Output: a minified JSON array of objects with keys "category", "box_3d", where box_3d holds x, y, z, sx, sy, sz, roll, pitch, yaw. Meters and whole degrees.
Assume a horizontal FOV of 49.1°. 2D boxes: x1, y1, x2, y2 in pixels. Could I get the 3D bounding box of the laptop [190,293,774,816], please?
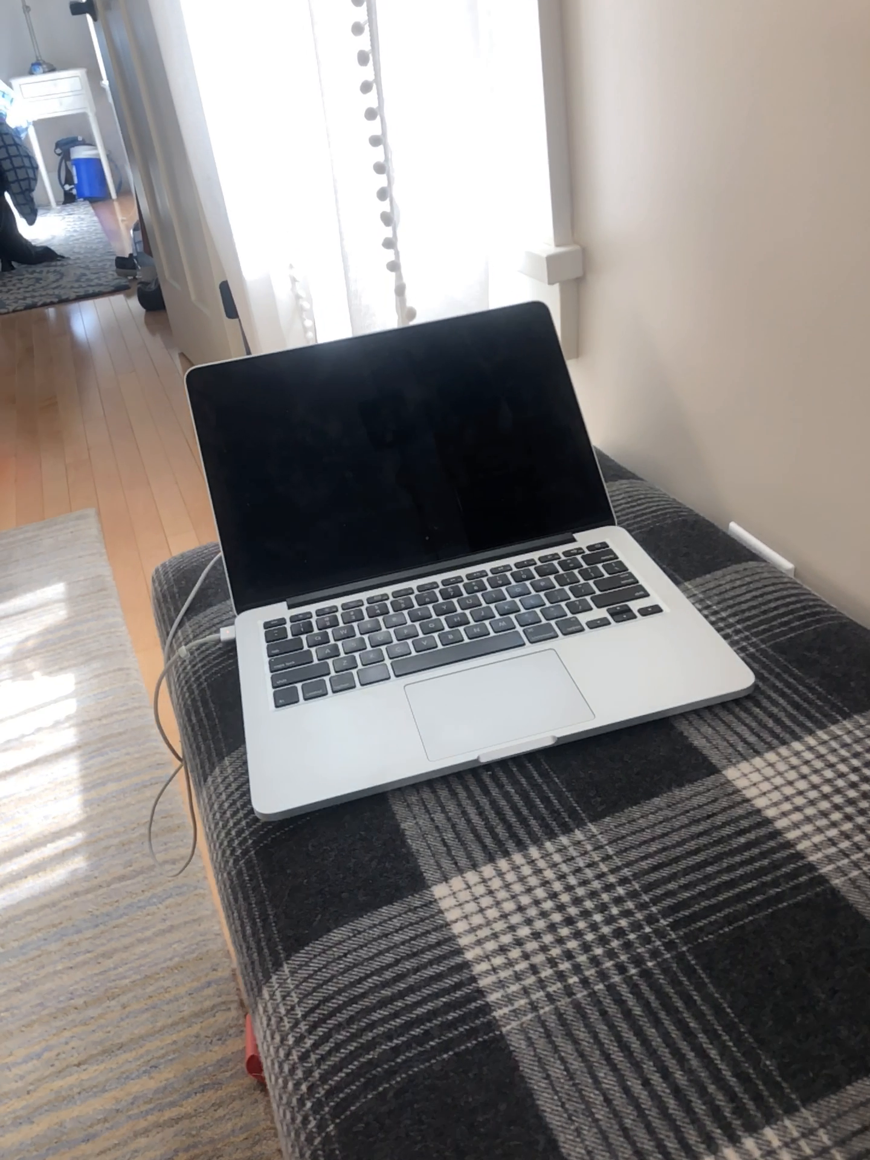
[{"category":"laptop","box_3d":[-0.001,-0.056,0.671,0.306,0.142,0.368,-13,32,-7]}]
